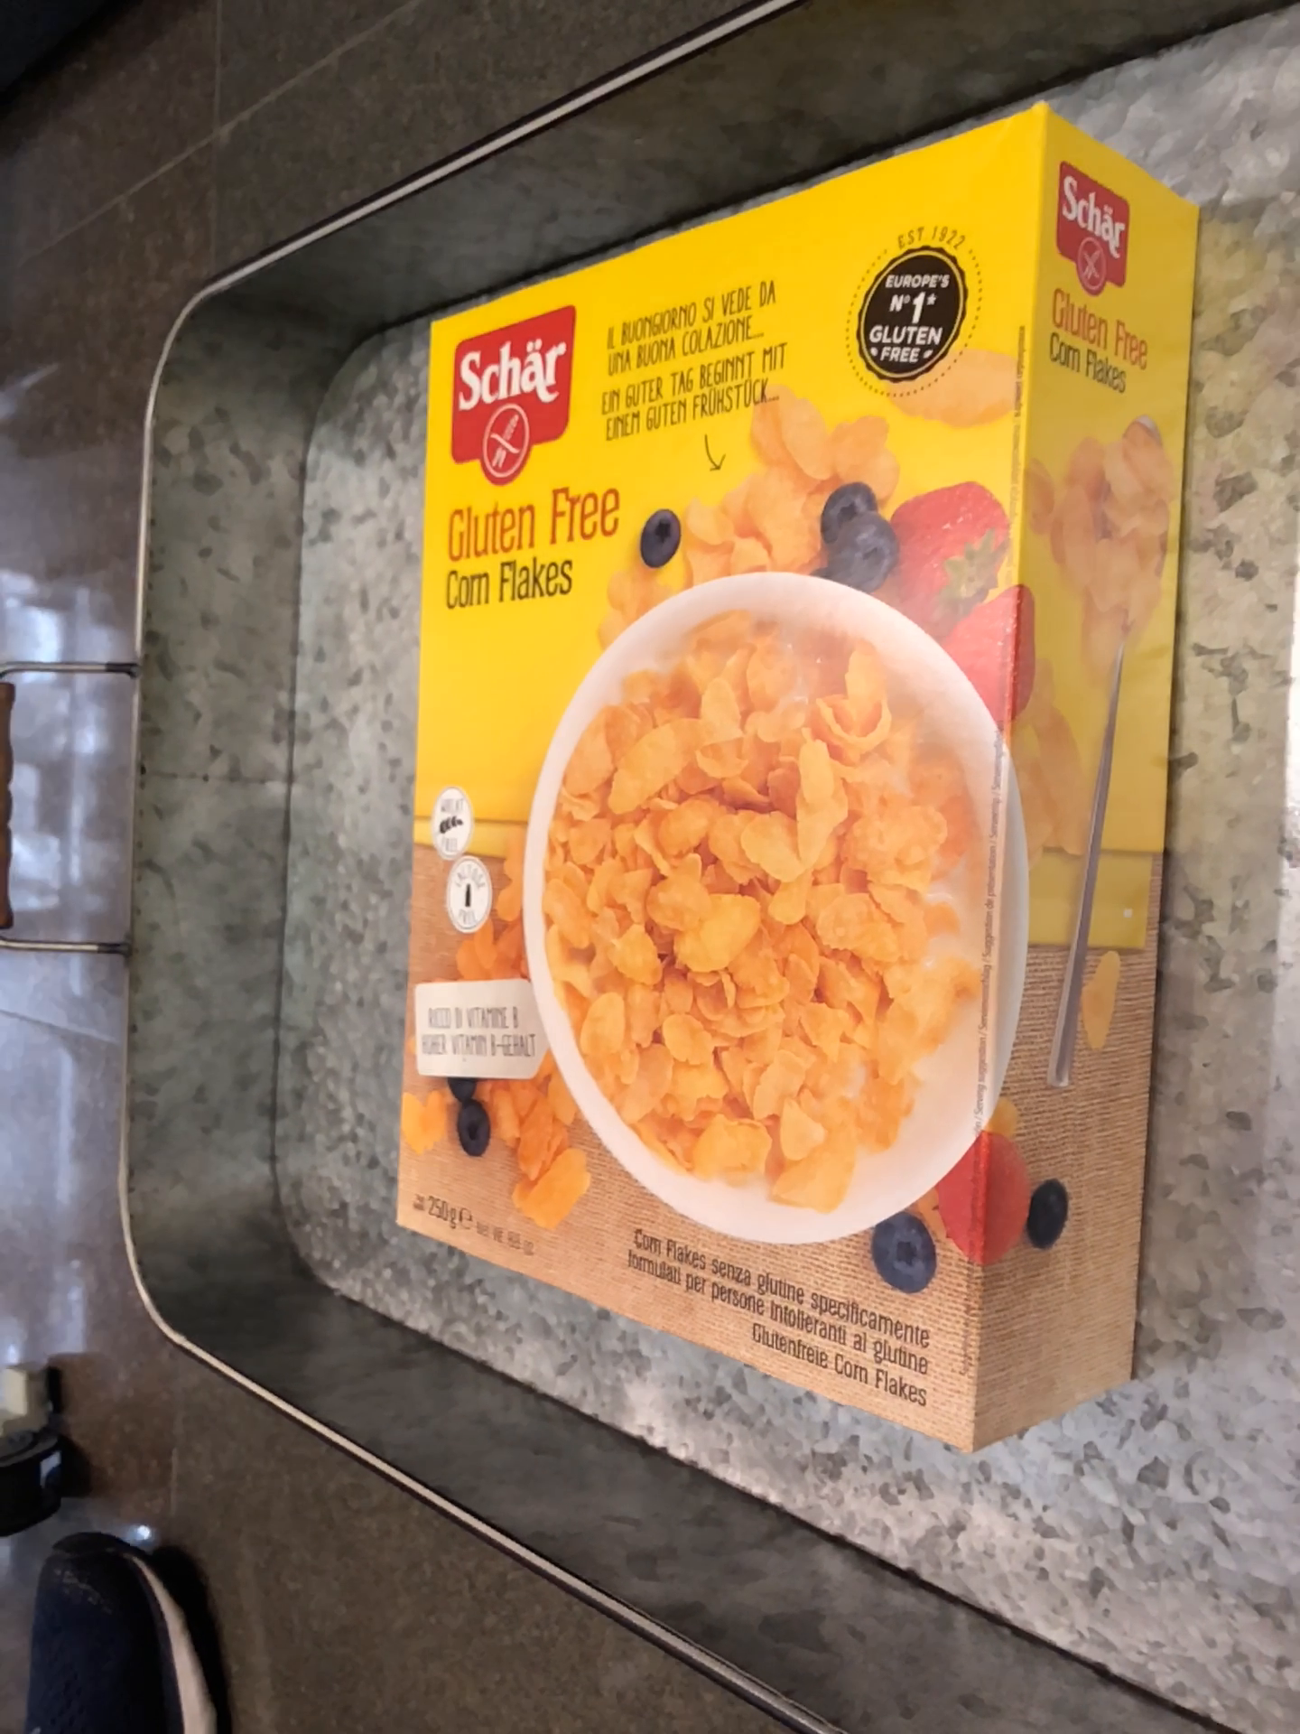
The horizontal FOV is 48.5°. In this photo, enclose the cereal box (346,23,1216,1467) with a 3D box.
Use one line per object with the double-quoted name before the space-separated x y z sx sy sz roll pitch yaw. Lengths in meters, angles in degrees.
"cereal box" 0.016 -0.024 0.347 0.201 0.070 0.250 4 93 46
